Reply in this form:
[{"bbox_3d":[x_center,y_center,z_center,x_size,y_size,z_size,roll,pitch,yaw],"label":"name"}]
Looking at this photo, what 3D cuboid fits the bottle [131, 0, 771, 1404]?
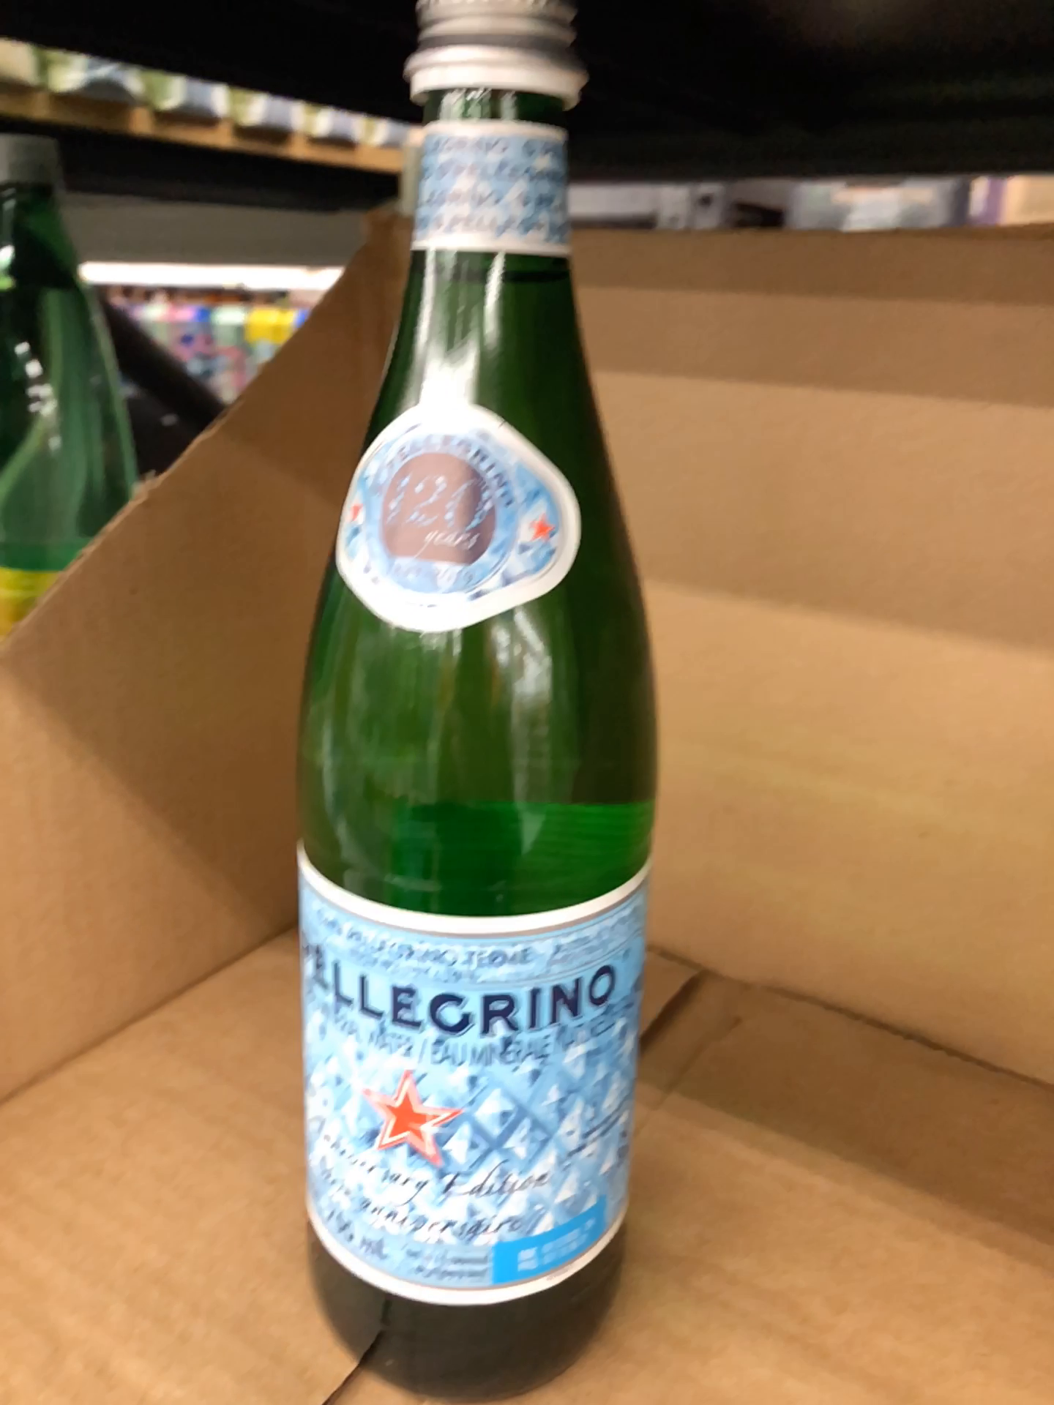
[{"bbox_3d":[-0.014,0.012,0.238,0.080,0.278,0.070,12,21,29],"label":"bottle"}]
